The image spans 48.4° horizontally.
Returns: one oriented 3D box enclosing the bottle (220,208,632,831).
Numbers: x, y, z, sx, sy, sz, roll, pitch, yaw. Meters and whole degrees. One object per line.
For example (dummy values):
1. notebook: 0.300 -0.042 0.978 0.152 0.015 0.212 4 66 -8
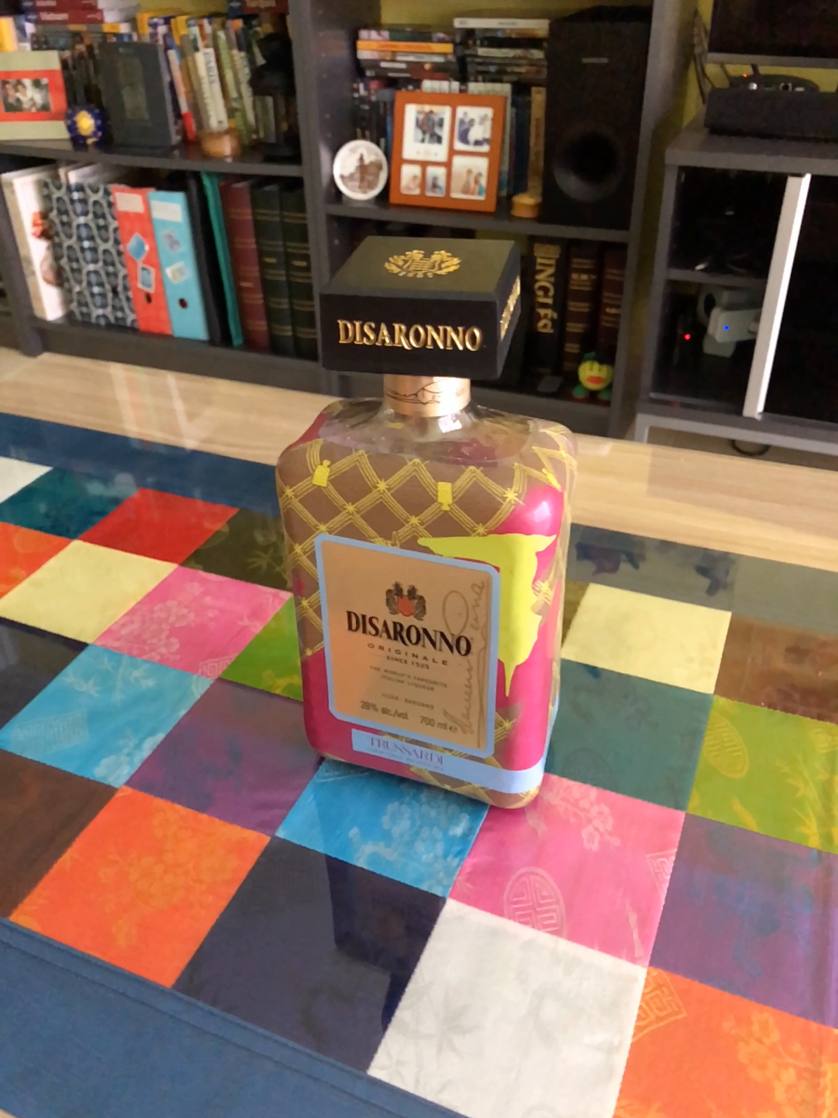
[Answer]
1. bottle: 0.008 -0.011 0.382 0.120 0.229 0.080 11 37 18
